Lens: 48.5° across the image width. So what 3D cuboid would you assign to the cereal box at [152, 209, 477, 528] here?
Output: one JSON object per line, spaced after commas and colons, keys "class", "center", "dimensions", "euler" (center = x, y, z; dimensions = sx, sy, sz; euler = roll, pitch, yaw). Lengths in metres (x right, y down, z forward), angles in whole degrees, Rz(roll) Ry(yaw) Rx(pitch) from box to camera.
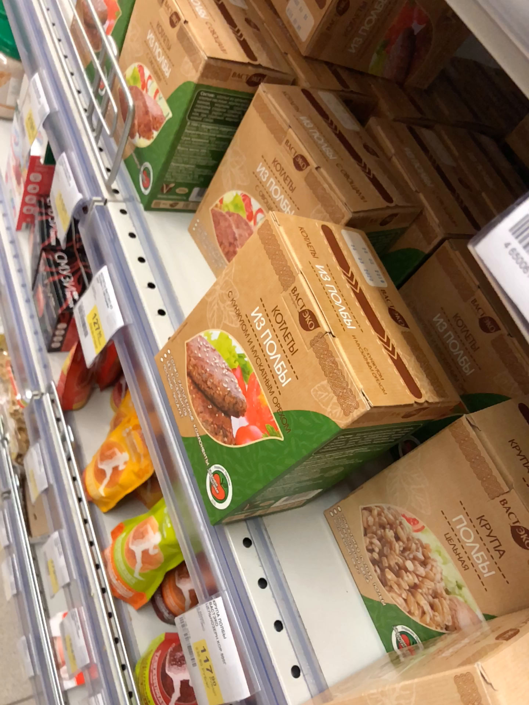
{"class": "cereal box", "center": [0.020, 0.013, 0.353], "dimensions": [0.090, 0.139, 0.120], "euler": [0, 57, -42]}
